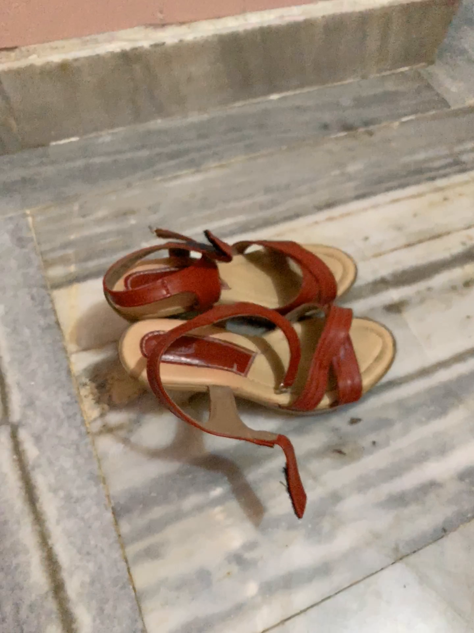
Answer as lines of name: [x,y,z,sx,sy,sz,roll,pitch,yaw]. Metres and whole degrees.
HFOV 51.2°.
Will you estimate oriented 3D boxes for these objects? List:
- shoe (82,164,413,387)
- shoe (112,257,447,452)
shoe: [0.006,-0.038,0.428,0.240,0.100,0.100,-15,59,-14]
shoe: [0.026,0.031,0.417,0.240,0.100,0.100,-6,58,-9]
